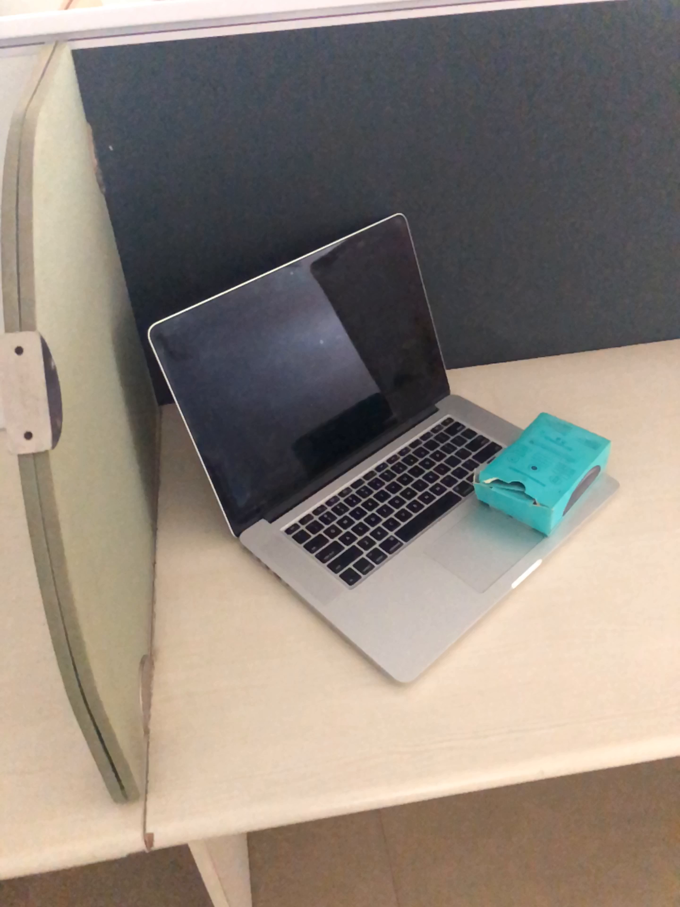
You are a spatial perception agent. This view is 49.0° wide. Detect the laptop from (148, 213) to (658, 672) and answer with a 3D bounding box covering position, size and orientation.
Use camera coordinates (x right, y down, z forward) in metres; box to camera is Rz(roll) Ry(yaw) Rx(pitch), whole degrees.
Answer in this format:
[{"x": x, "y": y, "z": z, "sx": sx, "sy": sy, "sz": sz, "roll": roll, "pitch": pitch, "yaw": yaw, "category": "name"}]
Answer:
[{"x": 0.059, "y": -0.044, "z": 0.763, "sx": 0.329, "sy": 0.200, "sz": 0.339, "roll": -32, "pitch": 50, "yaw": -29, "category": "laptop"}]
